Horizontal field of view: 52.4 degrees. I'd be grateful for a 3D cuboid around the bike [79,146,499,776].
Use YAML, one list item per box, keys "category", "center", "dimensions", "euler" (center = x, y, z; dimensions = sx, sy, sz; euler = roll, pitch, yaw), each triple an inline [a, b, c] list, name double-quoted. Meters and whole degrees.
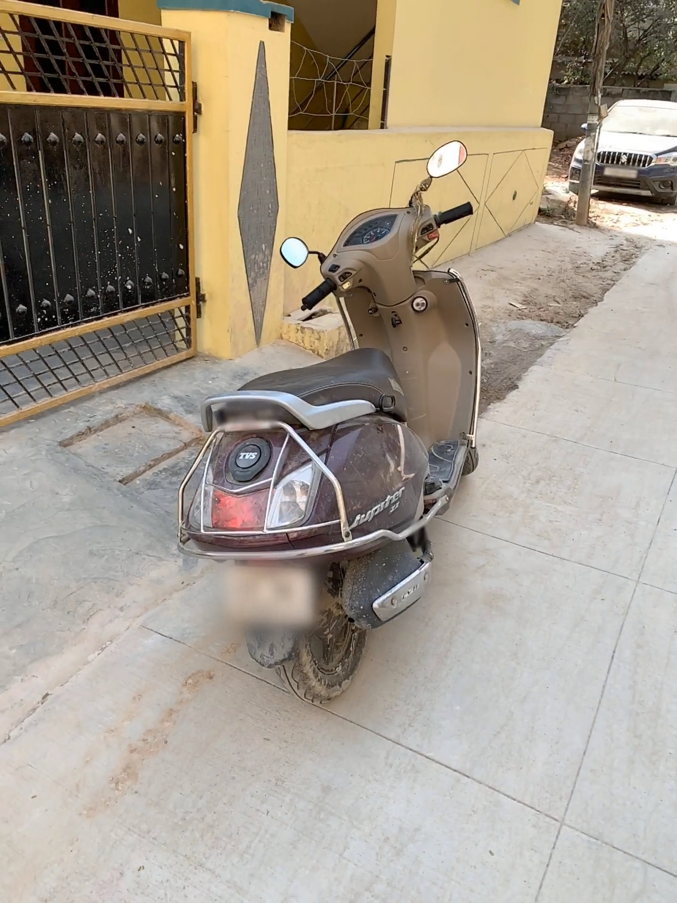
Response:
- category: "bike"
  center: [-0.001, -0.176, 2.110]
  dimensions: [0.613, 1.158, 1.532]
  euler: [11, 31, 14]
